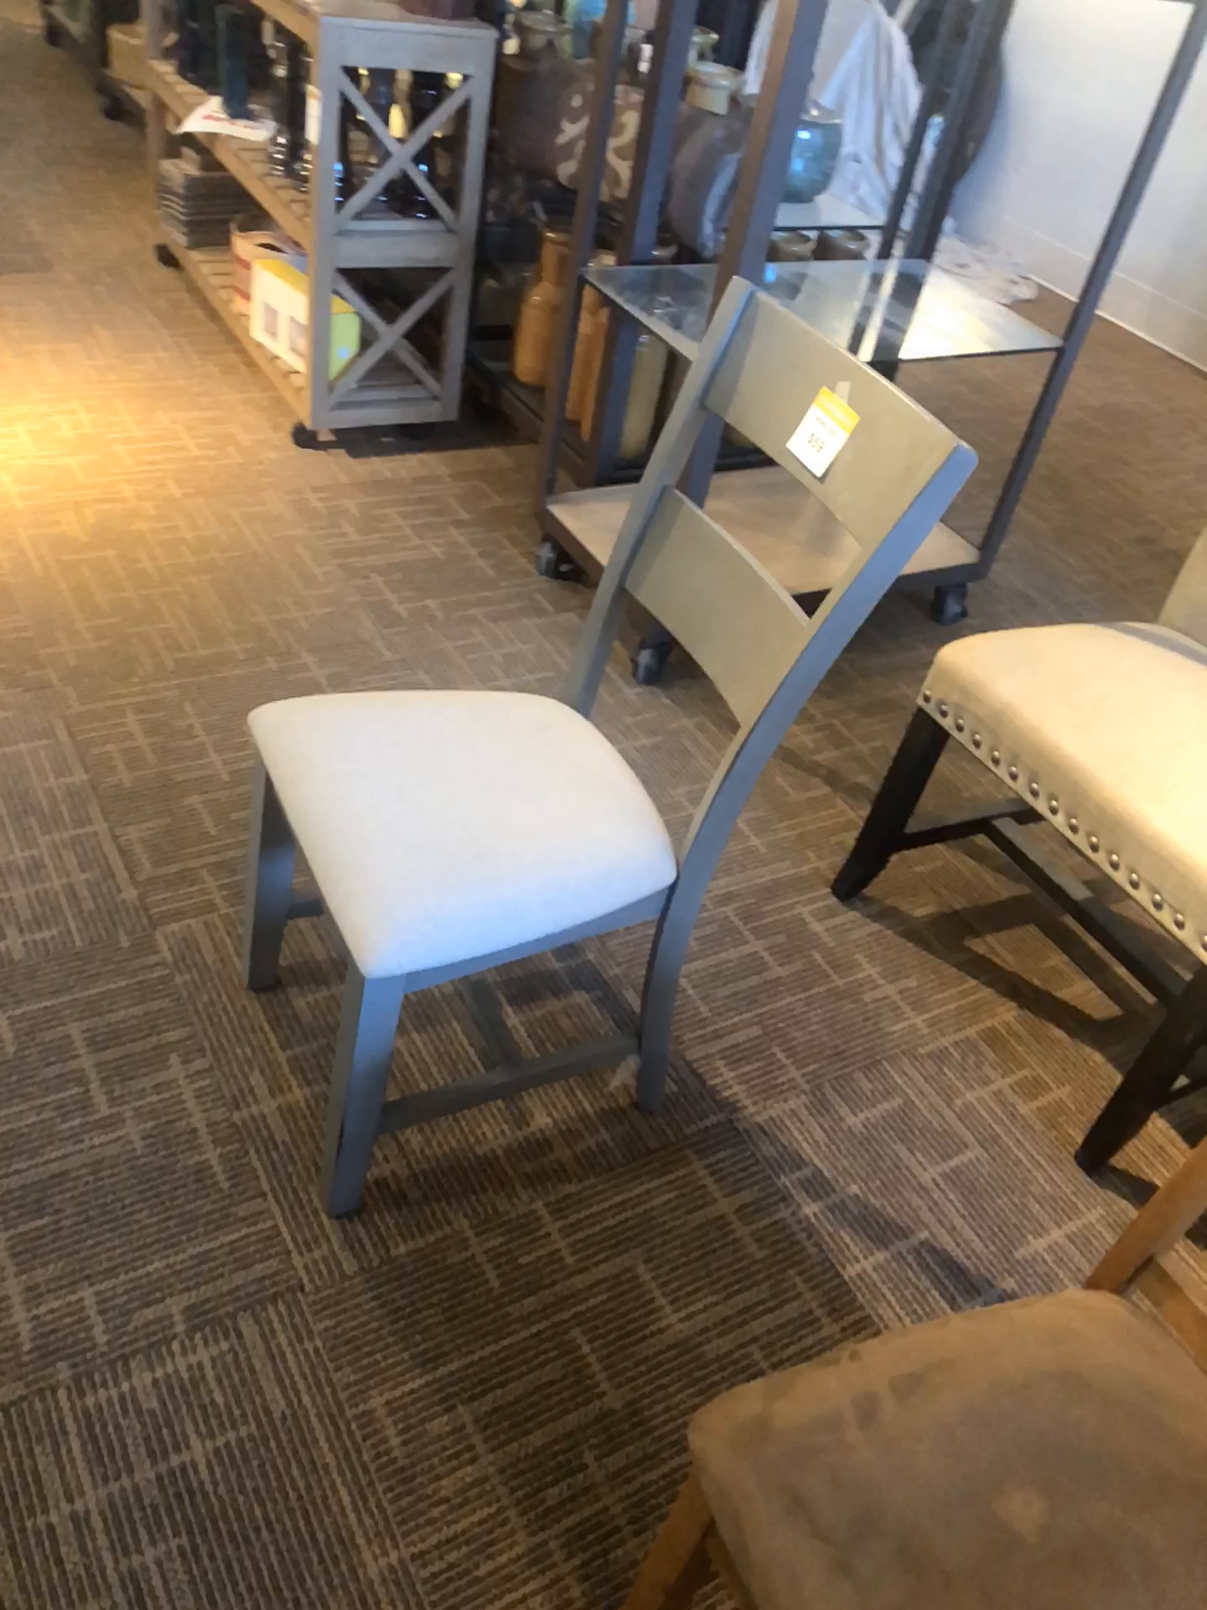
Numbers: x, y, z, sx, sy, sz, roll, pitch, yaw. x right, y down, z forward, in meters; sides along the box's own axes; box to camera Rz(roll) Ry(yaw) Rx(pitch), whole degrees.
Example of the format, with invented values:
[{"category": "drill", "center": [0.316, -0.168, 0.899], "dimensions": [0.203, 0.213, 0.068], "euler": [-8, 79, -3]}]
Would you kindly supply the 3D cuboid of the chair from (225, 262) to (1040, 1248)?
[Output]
[{"category": "chair", "center": [-0.057, -0.048, 1.525], "dimensions": [0.631, 0.965, 0.462], "euler": [-10, 44, -26]}]
